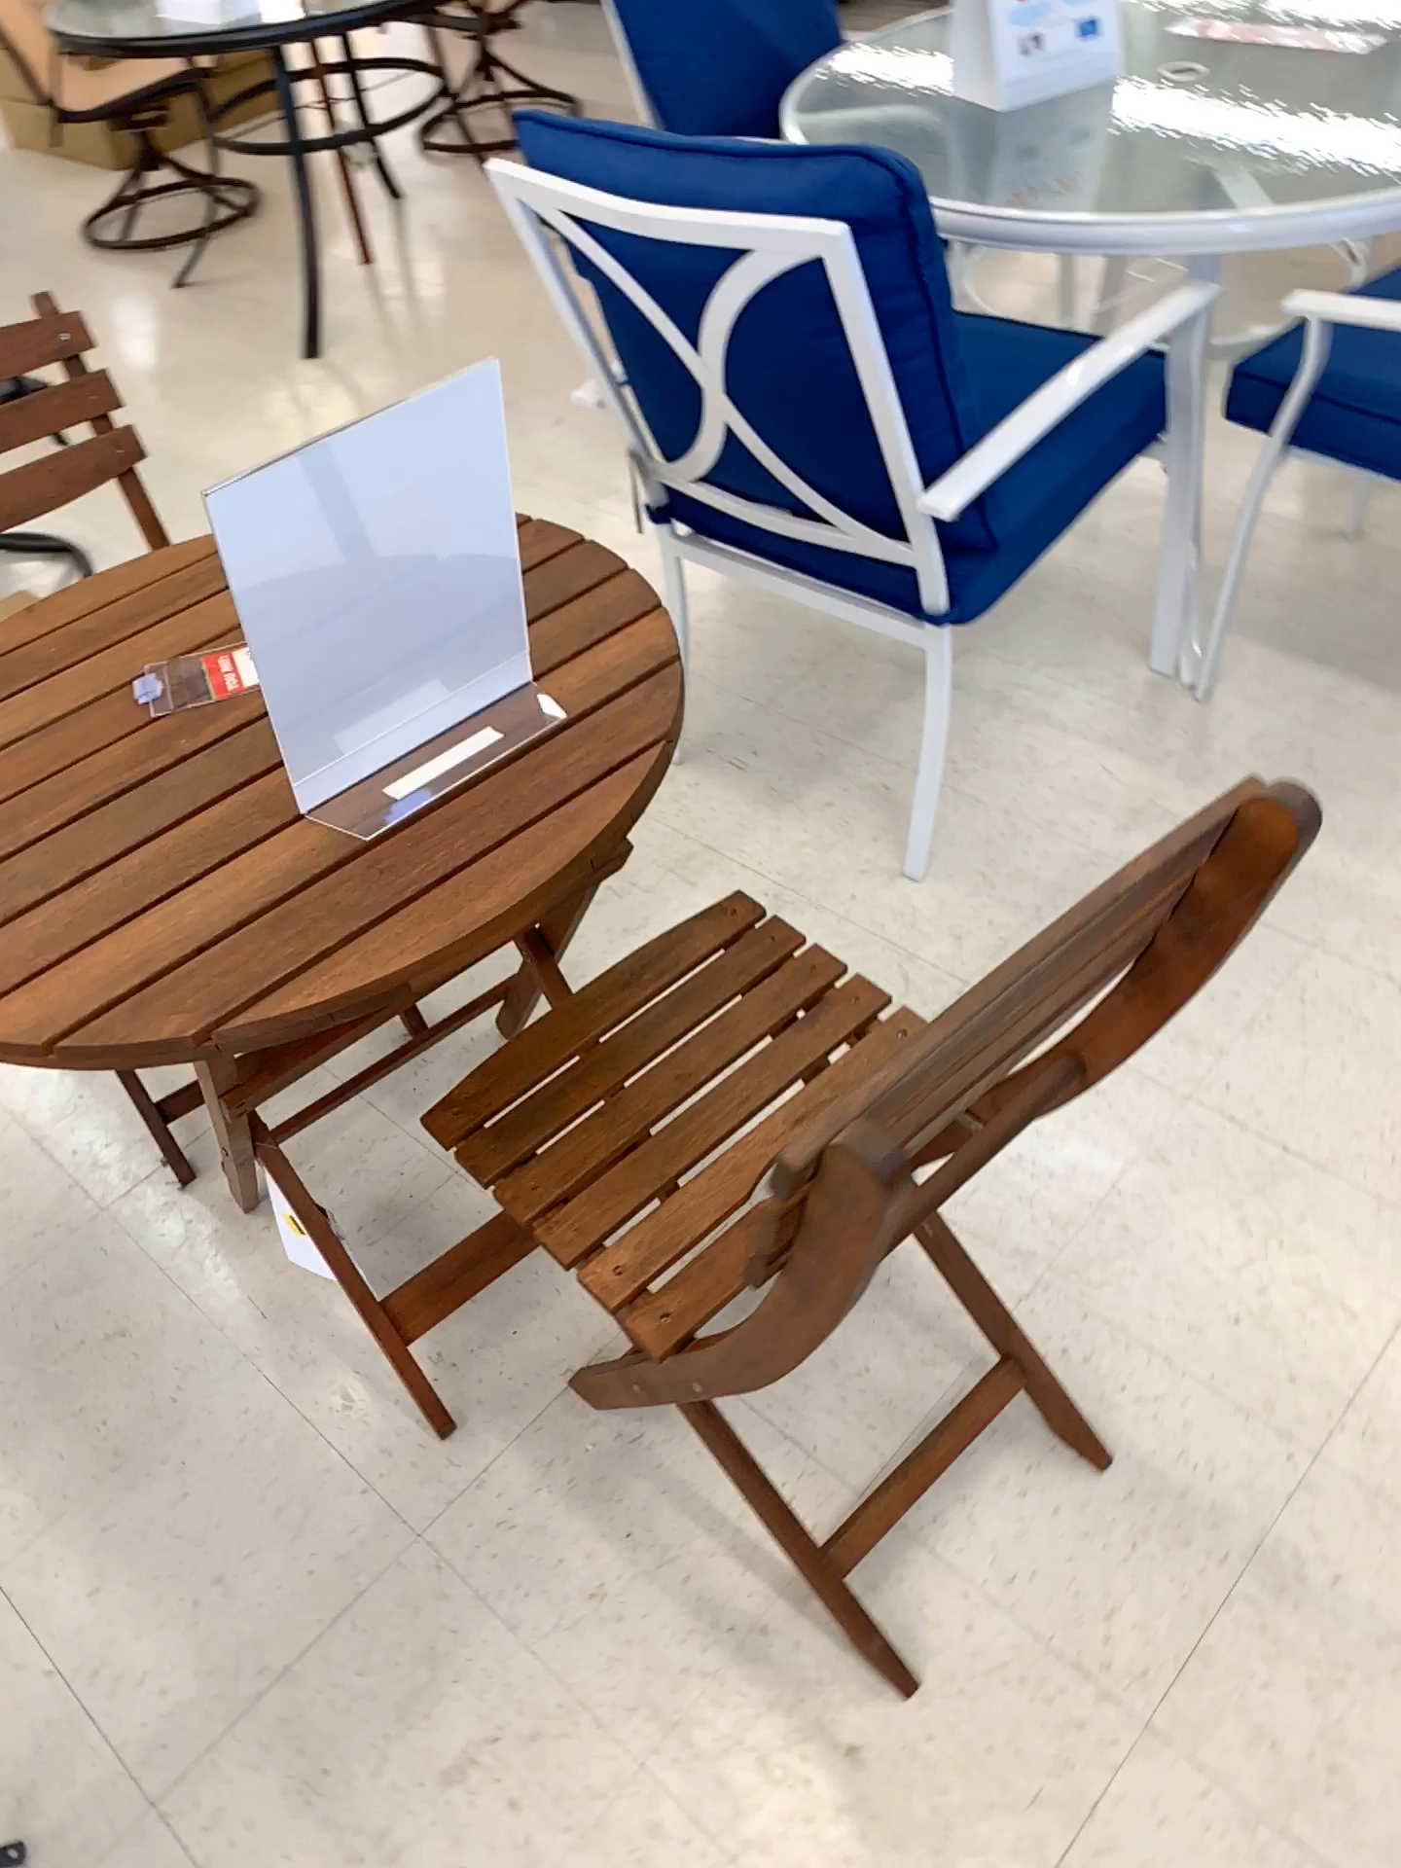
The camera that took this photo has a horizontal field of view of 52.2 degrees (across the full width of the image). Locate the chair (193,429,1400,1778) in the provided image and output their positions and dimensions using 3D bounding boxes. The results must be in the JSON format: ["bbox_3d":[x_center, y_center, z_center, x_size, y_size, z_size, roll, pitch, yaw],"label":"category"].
[{"bbox_3d":[0.079,0.139,1.096,0.441,0.776,0.552,-38,51,-26],"label":"chair"}]
